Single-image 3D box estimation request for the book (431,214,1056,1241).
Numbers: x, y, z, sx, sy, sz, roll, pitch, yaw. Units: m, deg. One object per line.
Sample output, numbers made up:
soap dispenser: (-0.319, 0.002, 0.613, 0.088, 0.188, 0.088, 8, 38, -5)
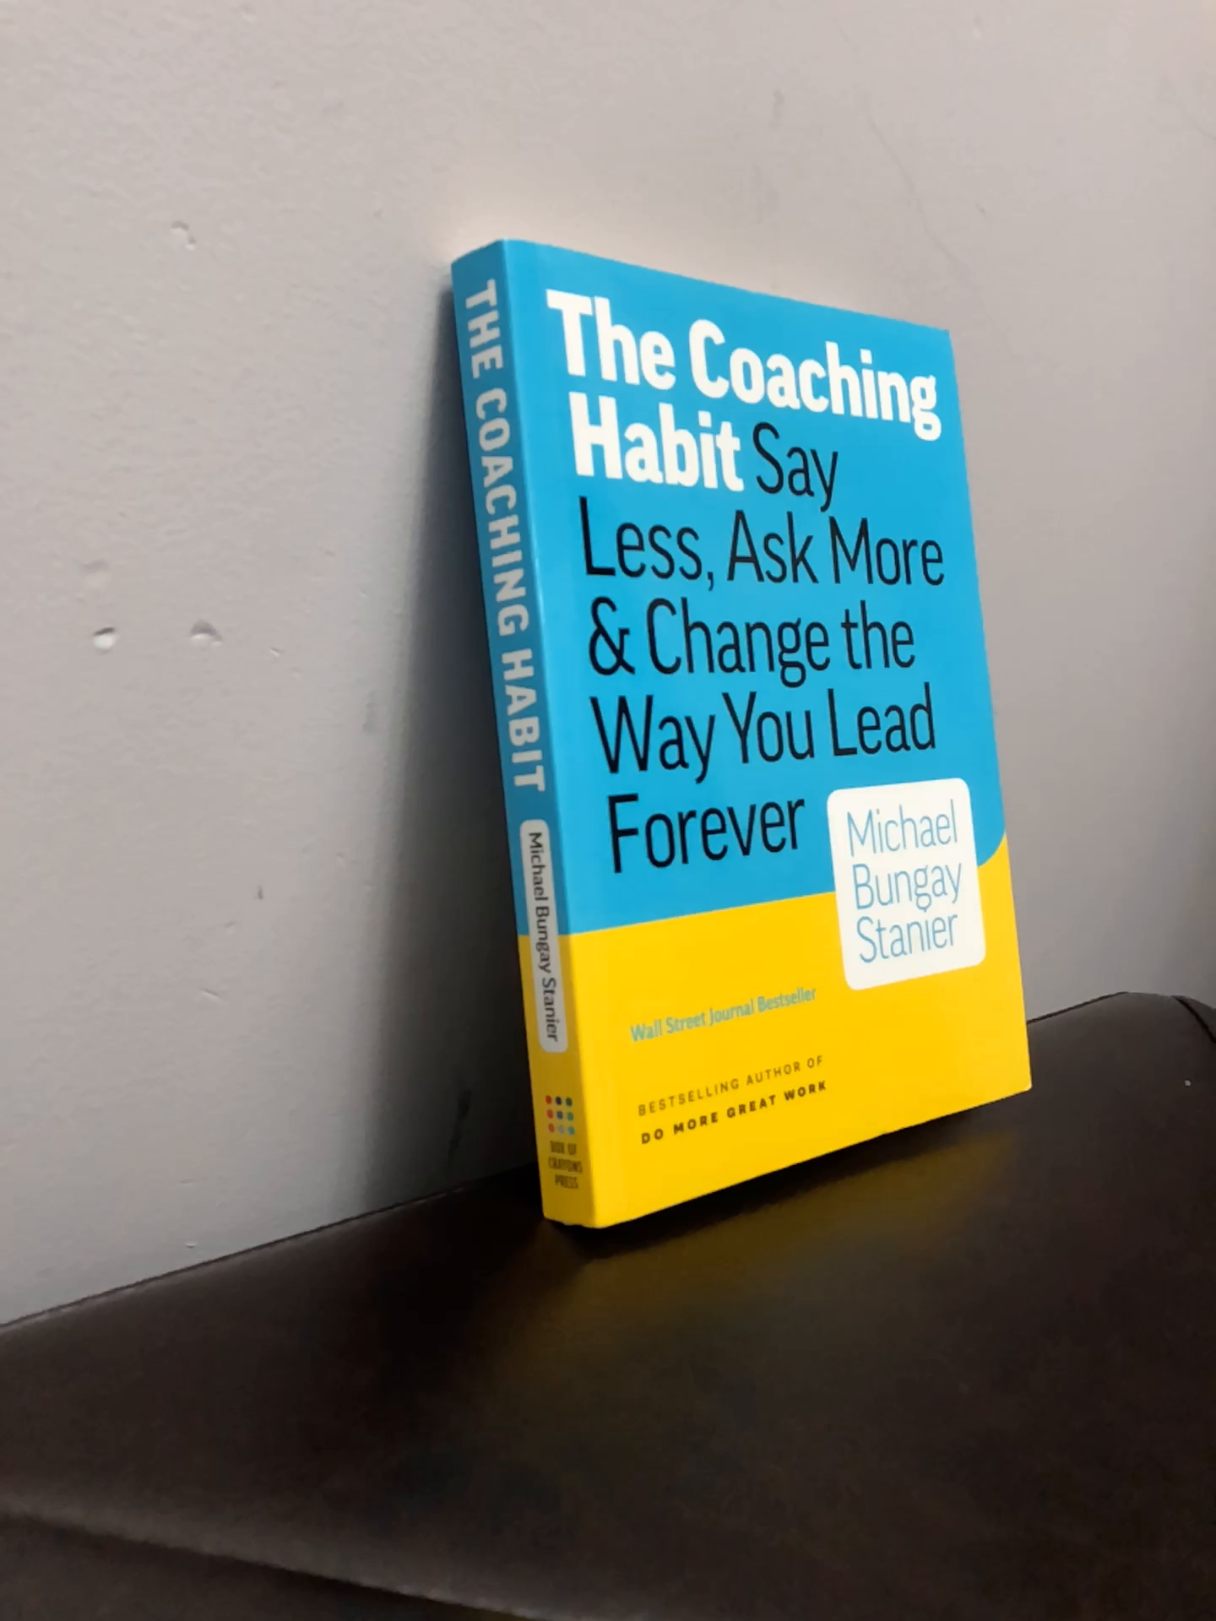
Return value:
book: (0.038, -0.020, 0.313, 0.145, 0.196, 0.030, -3, -4, -39)
